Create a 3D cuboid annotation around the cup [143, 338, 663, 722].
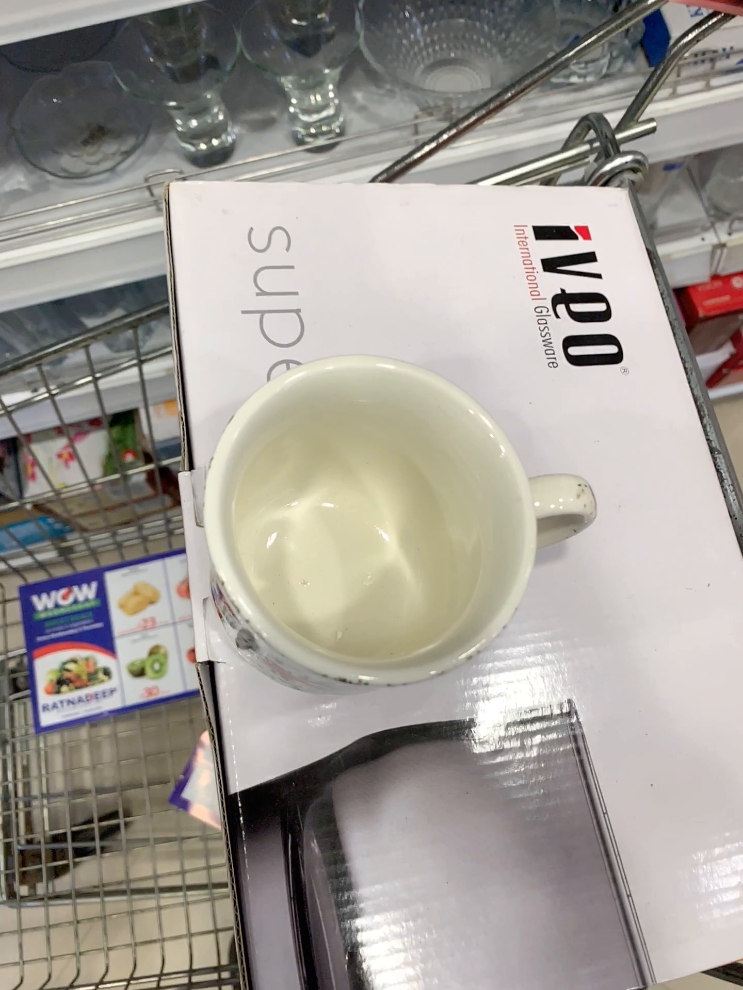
[{"bbox_3d":[0.000,0.011,0.190,0.100,0.070,0.070,-3,73,-21],"label":"cup"}]
